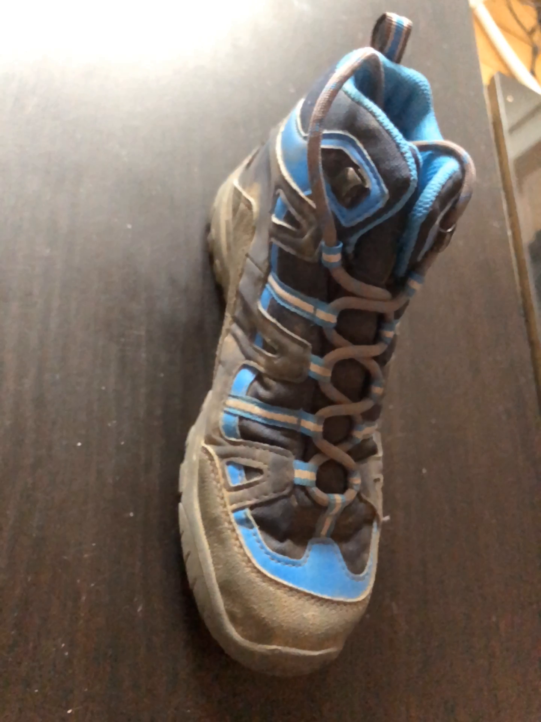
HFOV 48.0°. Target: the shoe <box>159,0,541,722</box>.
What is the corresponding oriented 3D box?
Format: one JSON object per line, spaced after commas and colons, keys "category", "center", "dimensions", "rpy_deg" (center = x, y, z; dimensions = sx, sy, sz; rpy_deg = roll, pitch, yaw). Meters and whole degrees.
{"category": "shoe", "center": [0.031, -0.004, 0.253], "dimensions": [0.100, 0.119, 0.251], "rpy_deg": [12, 66, -26]}
